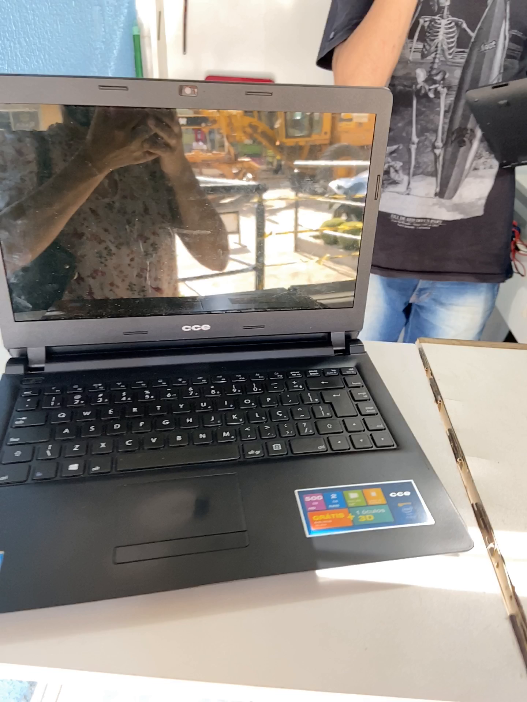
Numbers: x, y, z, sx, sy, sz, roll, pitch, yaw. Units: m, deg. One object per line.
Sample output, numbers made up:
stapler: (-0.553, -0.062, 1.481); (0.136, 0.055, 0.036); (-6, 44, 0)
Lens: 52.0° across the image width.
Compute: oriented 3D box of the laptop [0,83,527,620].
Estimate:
laptop: (-0.041, -0.036, 0.368); (0.324, 0.216, 0.268); (-4, 35, -9)
